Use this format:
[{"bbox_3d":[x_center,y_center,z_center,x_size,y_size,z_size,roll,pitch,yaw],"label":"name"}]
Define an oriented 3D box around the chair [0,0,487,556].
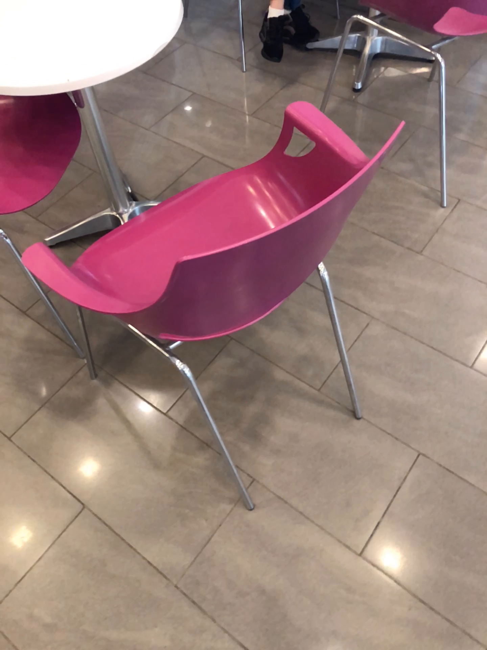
[{"bbox_3d":[-0.049,-0.072,1.078,0.631,0.758,0.591,-33,59,-18],"label":"chair"}]
